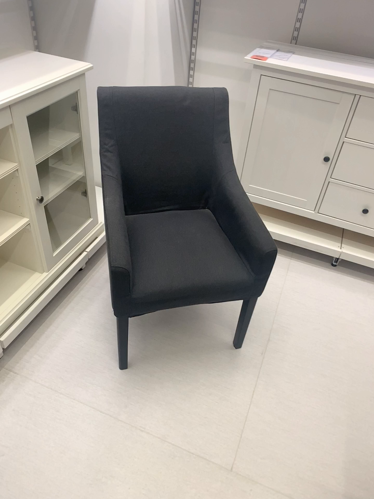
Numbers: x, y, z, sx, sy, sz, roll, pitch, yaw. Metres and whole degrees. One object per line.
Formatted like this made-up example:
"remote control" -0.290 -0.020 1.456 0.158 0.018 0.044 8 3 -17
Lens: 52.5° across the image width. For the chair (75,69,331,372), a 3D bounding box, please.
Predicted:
"chair" -0.038 -0.108 1.491 0.660 0.946 0.612 -6 41 -14
